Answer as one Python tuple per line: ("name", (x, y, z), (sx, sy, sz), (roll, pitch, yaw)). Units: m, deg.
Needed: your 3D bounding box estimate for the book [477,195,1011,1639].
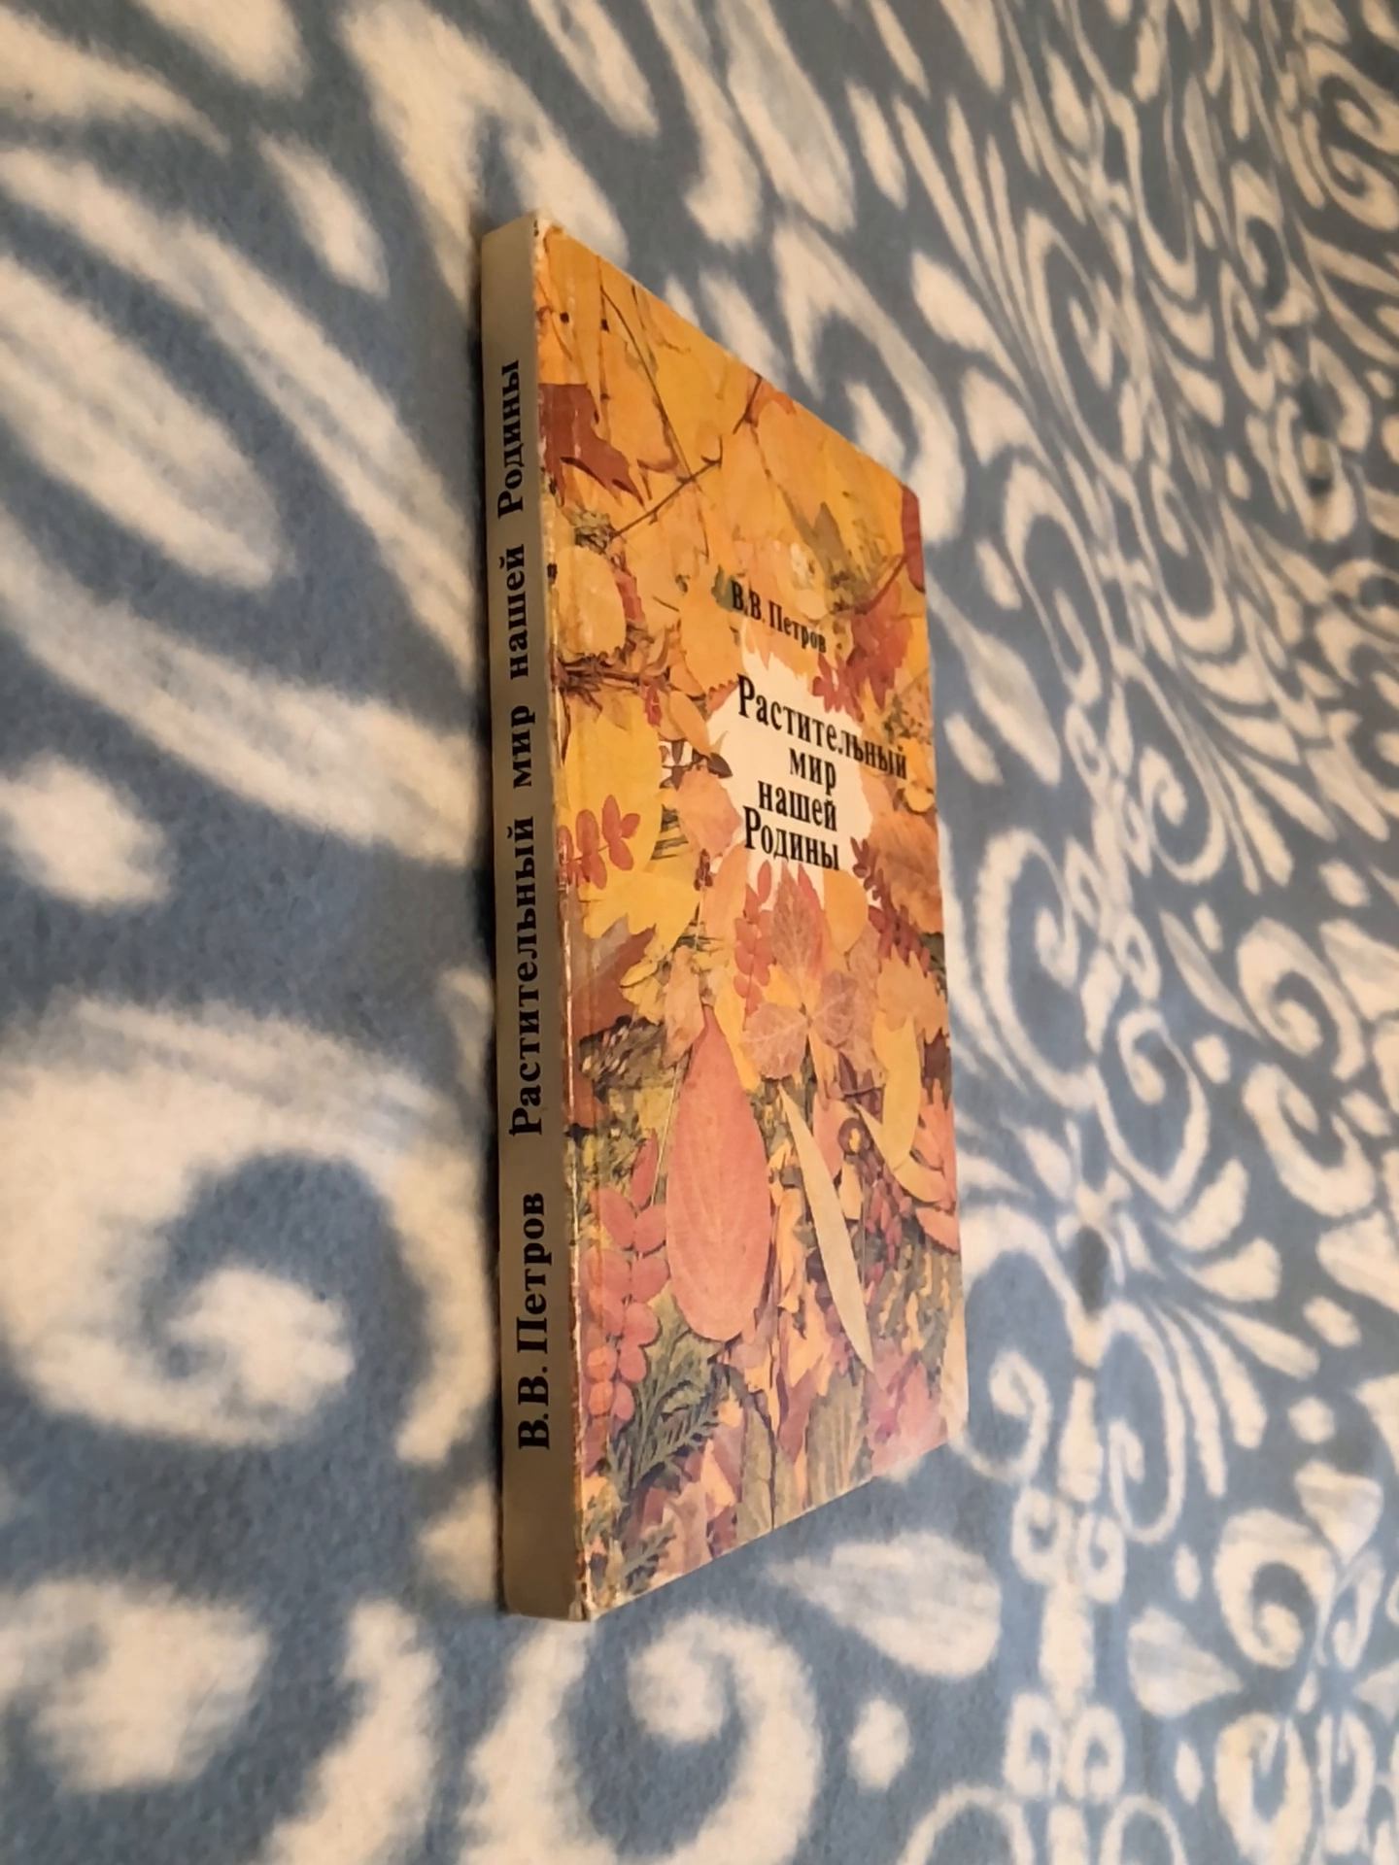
("book", (0.017, -0.001, 0.294), (0.157, 0.020, 0.208), (10, 77, -59))
